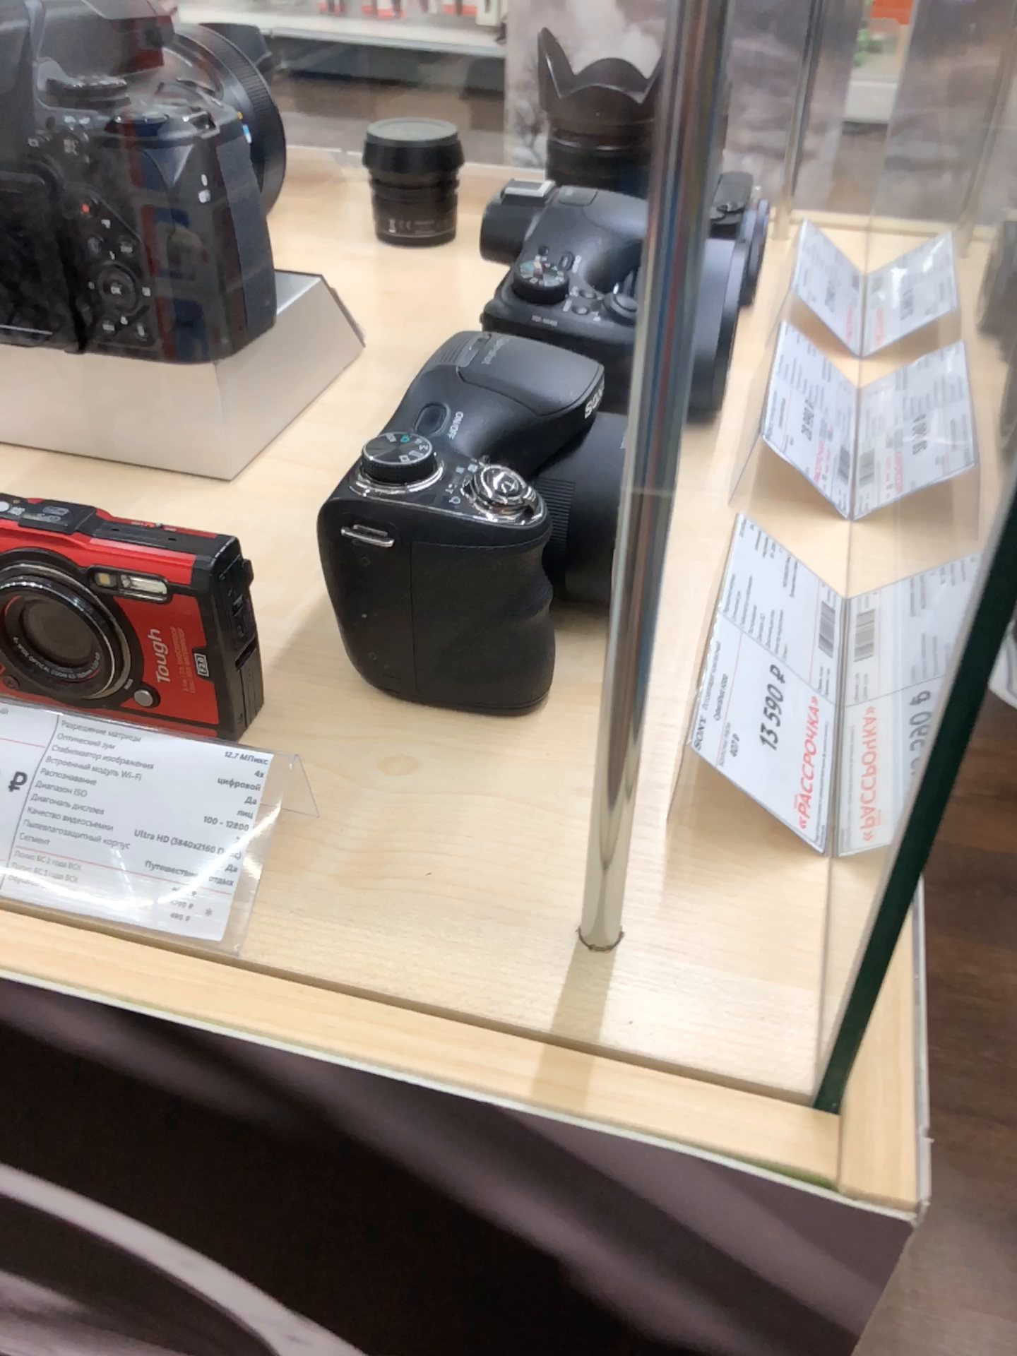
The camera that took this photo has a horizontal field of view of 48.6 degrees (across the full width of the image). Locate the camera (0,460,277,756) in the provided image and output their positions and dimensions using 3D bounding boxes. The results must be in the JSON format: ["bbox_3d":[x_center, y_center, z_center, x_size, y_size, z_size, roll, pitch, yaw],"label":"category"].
[{"bbox_3d":[-0.130,-0.021,0.334,0.111,0.069,0.026,9,39,10],"label":"camera"}]

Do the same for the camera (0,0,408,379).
[{"bbox_3d":[-0.129,-0.204,0.425,0.132,0.106,0.169,10,39,11],"label":"camera"}]

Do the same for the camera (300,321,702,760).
[{"bbox_3d":[0.004,-0.051,0.369,0.091,0.078,0.124,11,39,12],"label":"camera"}]

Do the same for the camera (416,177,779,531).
[{"bbox_3d":[0.041,-0.146,0.492,0.125,0.097,0.124,11,39,12],"label":"camera"}]
